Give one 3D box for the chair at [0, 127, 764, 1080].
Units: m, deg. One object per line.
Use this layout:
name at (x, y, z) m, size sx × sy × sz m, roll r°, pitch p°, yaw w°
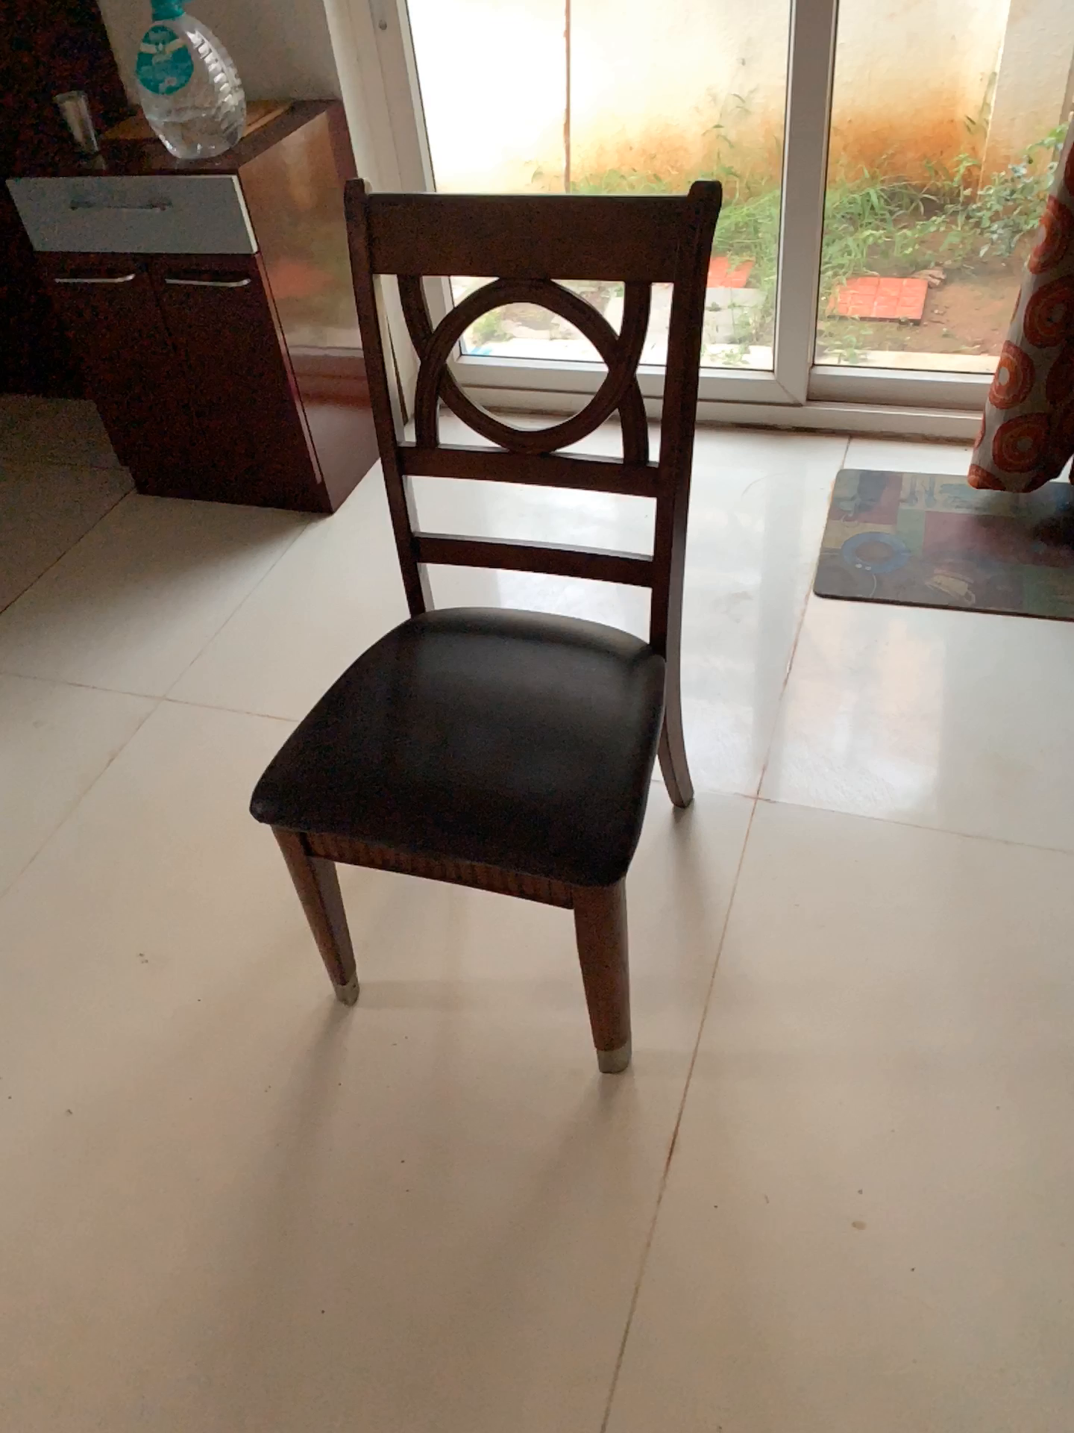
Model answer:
chair at (-0.059, -0.112, 1.452) m, size 0.571 × 1.026 × 0.642 m, roll 9°, pitch 49°, yaw 17°
